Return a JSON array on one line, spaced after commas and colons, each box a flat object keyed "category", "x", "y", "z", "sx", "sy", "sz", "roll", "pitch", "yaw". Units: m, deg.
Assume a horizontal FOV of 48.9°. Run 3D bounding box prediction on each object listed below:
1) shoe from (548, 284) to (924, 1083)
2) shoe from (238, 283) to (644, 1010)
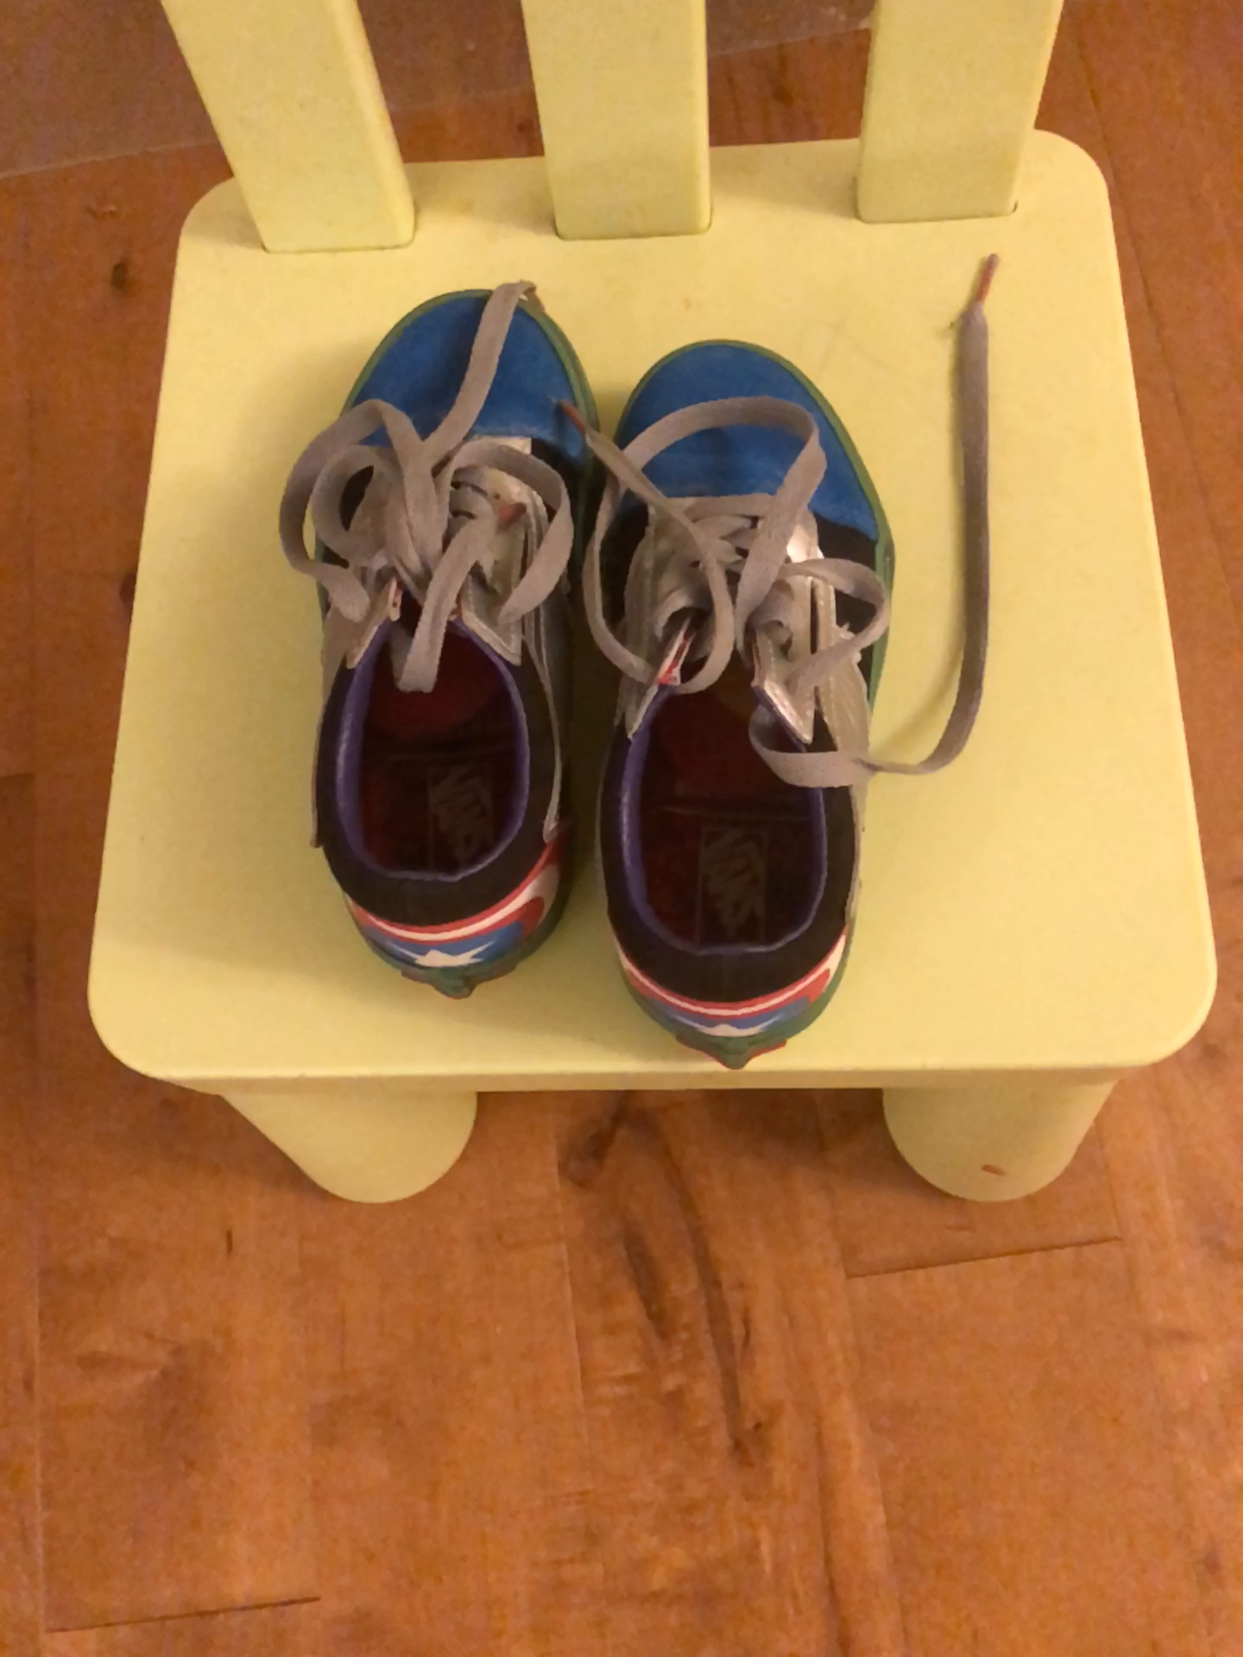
[{"category": "shoe", "x": 0.029, "y": -0.035, "z": 0.352, "sx": 0.080, "sy": 0.070, "sz": 0.190, "roll": 0, "pitch": 74, "yaw": 5}, {"category": "shoe", "x": -0.043, "y": -0.049, "z": 0.395, "sx": 0.090, "sy": 0.080, "sz": 0.190, "roll": 0, "pitch": 74, "yaw": 5}]
